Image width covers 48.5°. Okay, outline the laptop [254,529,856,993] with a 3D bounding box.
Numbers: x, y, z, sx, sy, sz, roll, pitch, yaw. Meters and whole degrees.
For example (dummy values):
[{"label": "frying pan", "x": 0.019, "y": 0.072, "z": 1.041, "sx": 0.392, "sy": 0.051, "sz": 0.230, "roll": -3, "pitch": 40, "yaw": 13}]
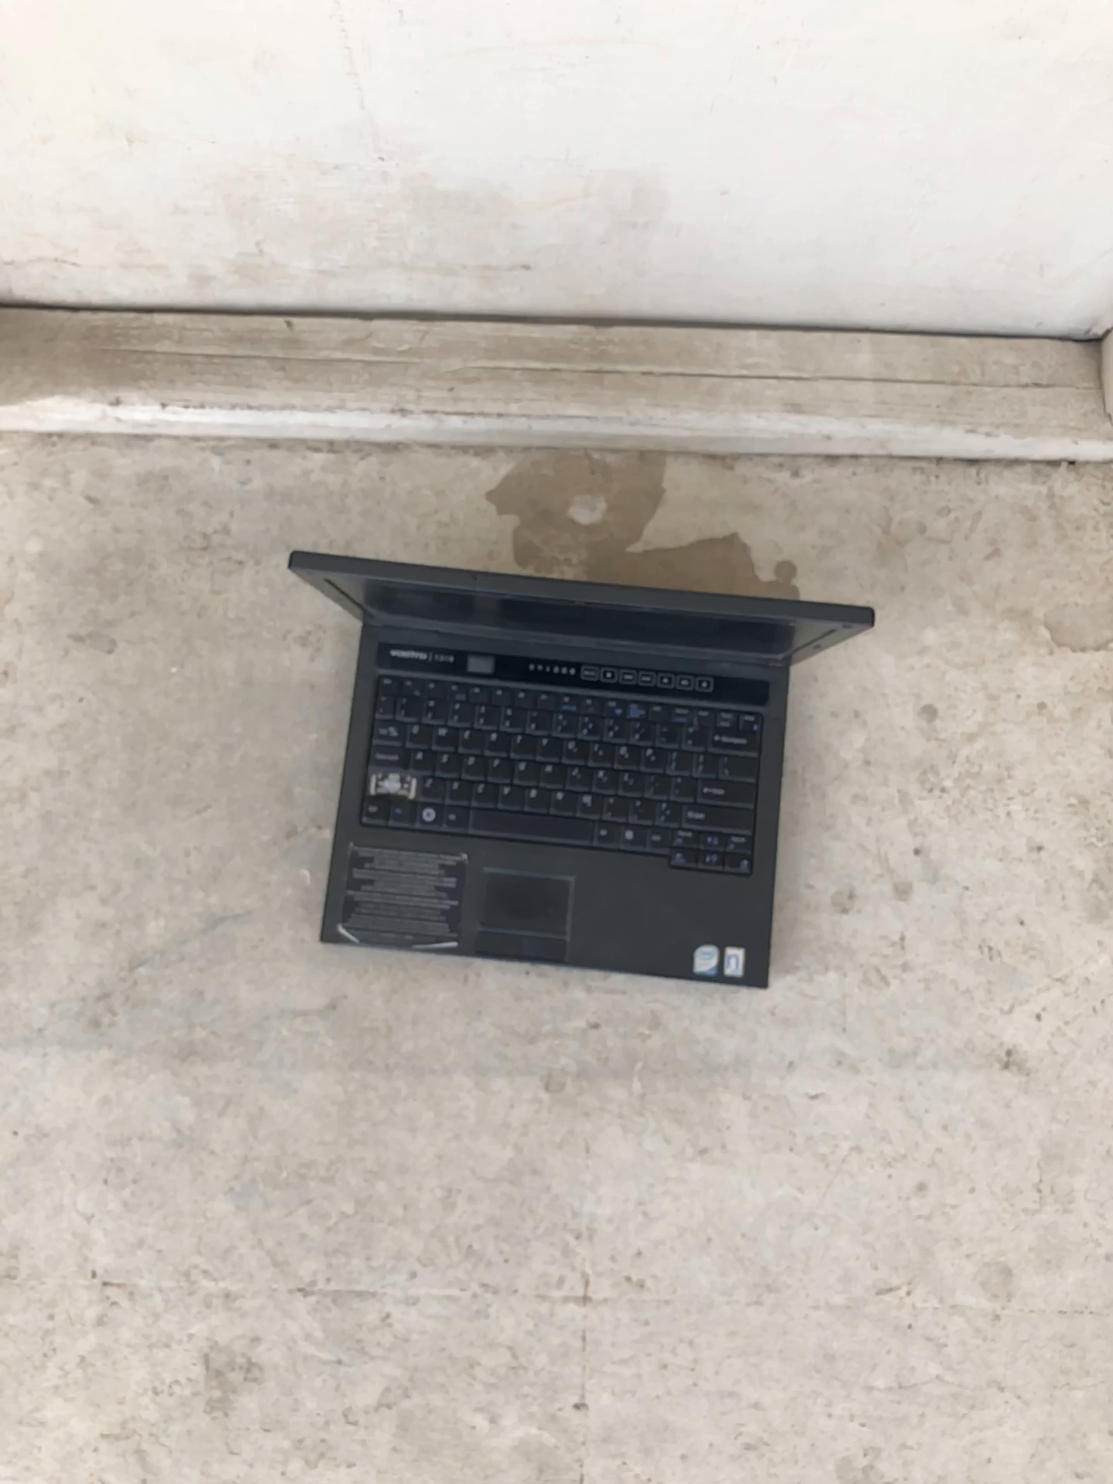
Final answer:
[{"label": "laptop", "x": 0.000, "y": 0.026, "z": 0.751, "sx": 0.292, "sy": 0.220, "sz": 0.213, "roll": 6, "pitch": 81, "yaw": 1}]
